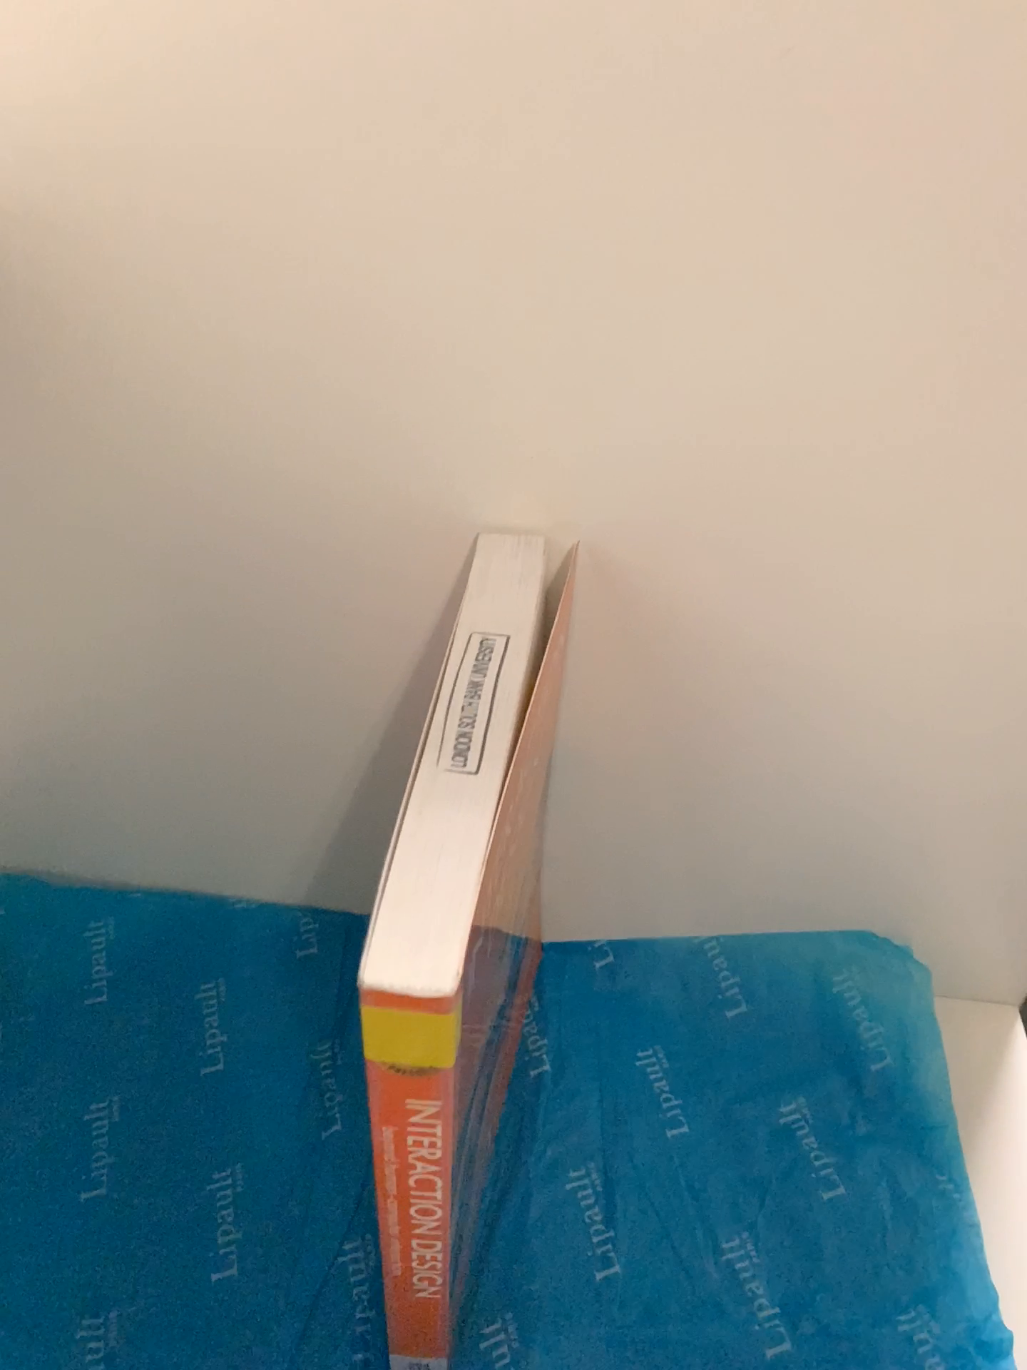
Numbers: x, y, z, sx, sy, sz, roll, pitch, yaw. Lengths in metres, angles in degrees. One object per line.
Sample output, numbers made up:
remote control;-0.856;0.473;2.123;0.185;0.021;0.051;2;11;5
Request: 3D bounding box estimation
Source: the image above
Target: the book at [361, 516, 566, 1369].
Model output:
book;-0.013;0.098;0.381;0.030;0.247;0.196;6;40;3
